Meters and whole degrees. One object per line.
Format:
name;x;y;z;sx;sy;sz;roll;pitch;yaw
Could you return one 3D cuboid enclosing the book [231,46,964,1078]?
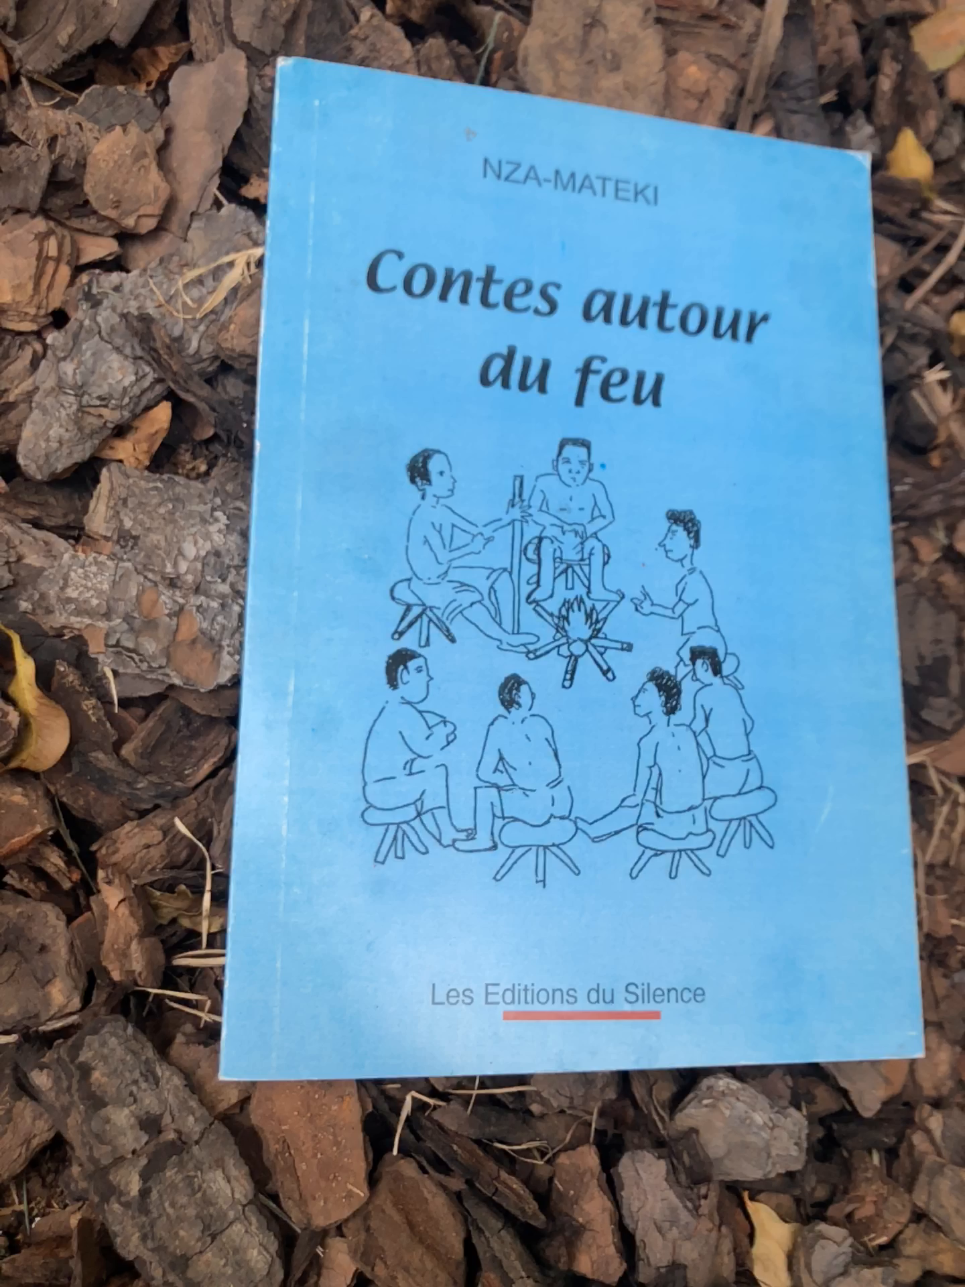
book;0.028;-0.019;0.226;0.144;0.015;0.202;4;78;-12
